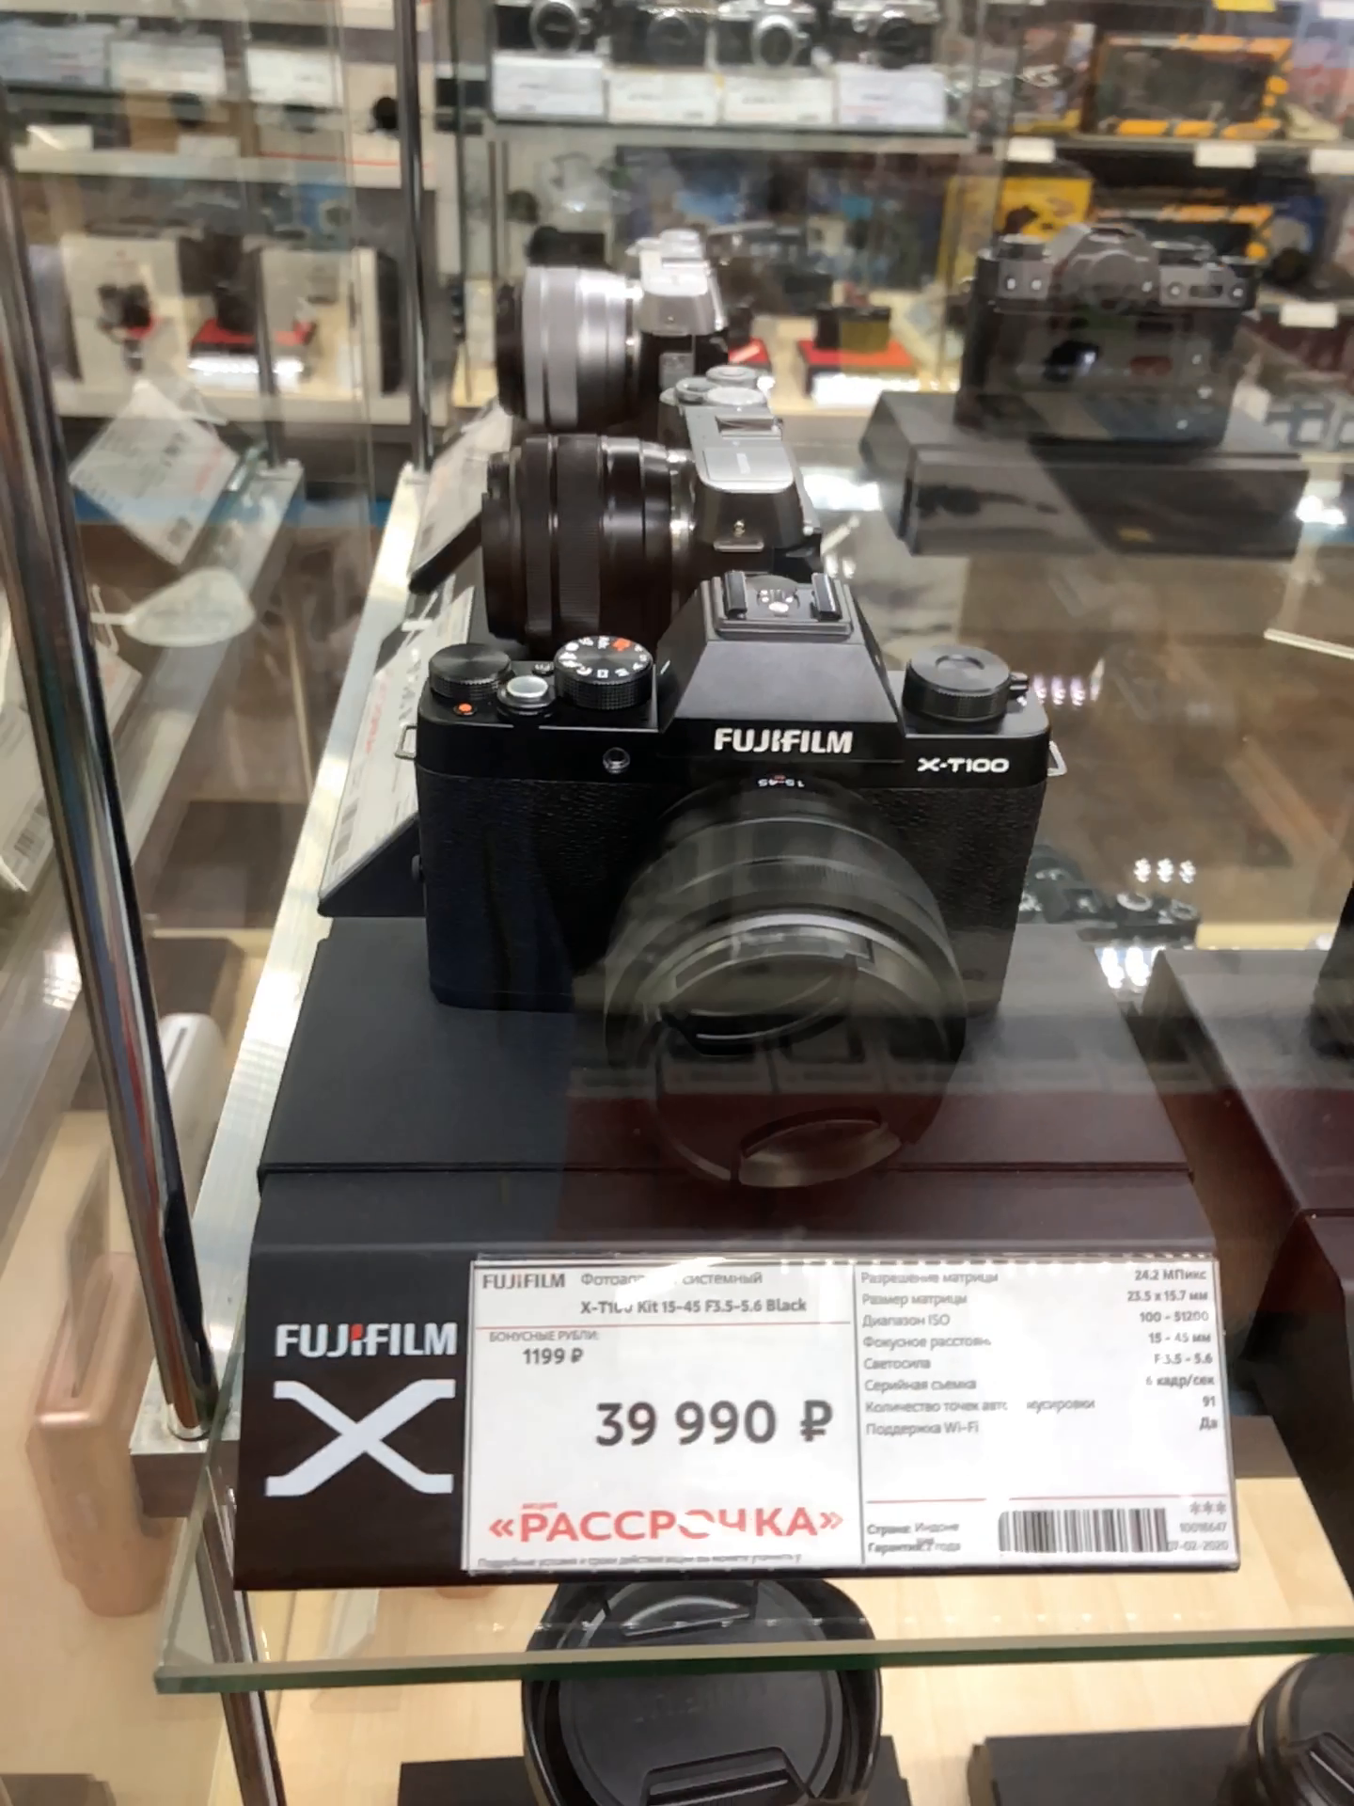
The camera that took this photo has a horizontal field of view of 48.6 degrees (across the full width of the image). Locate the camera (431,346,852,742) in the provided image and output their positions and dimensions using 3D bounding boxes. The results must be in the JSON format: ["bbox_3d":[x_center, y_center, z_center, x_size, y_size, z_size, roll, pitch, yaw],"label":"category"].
[{"bbox_3d":[-0.014,-0.105,0.423,0.100,0.069,0.121,0,34,-5],"label":"camera"}]

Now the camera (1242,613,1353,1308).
[{"bbox_3d":[0.186,0.006,0.266,0.120,0.078,0.099,1,34,-3],"label":"camera"}]

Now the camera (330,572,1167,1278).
[{"bbox_3d":[0.008,0.001,0.279,0.120,0.089,0.096,2,34,-2],"label":"camera"}]
